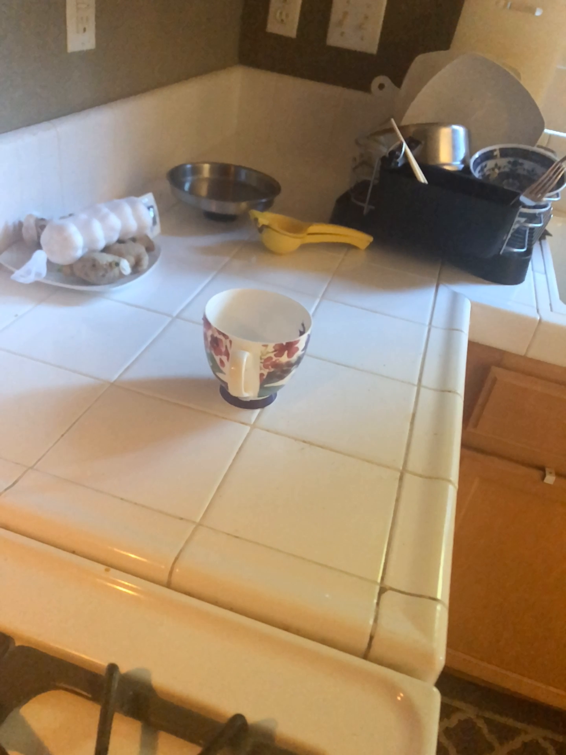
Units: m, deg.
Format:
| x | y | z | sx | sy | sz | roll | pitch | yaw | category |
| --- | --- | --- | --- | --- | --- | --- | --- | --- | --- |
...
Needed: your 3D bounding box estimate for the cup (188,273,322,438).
| x | y | z | sx | sy | sz | roll | pitch | yaw | category |
| --- | --- | --- | --- | --- | --- | --- | --- | --- | --- |
| -0.026 | -0.027 | 0.617 | 0.110 | 0.079 | 0.151 | 8 | 35 | -4 | cup |
